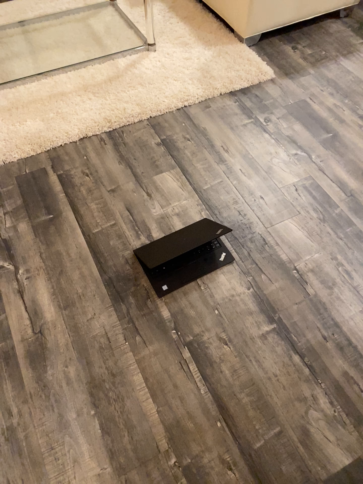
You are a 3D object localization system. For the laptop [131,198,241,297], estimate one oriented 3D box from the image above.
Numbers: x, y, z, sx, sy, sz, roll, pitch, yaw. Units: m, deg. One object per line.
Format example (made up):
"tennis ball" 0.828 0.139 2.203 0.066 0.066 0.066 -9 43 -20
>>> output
"laptop" 0.013 0.013 1.326 0.315 0.124 0.219 -24 60 -16
